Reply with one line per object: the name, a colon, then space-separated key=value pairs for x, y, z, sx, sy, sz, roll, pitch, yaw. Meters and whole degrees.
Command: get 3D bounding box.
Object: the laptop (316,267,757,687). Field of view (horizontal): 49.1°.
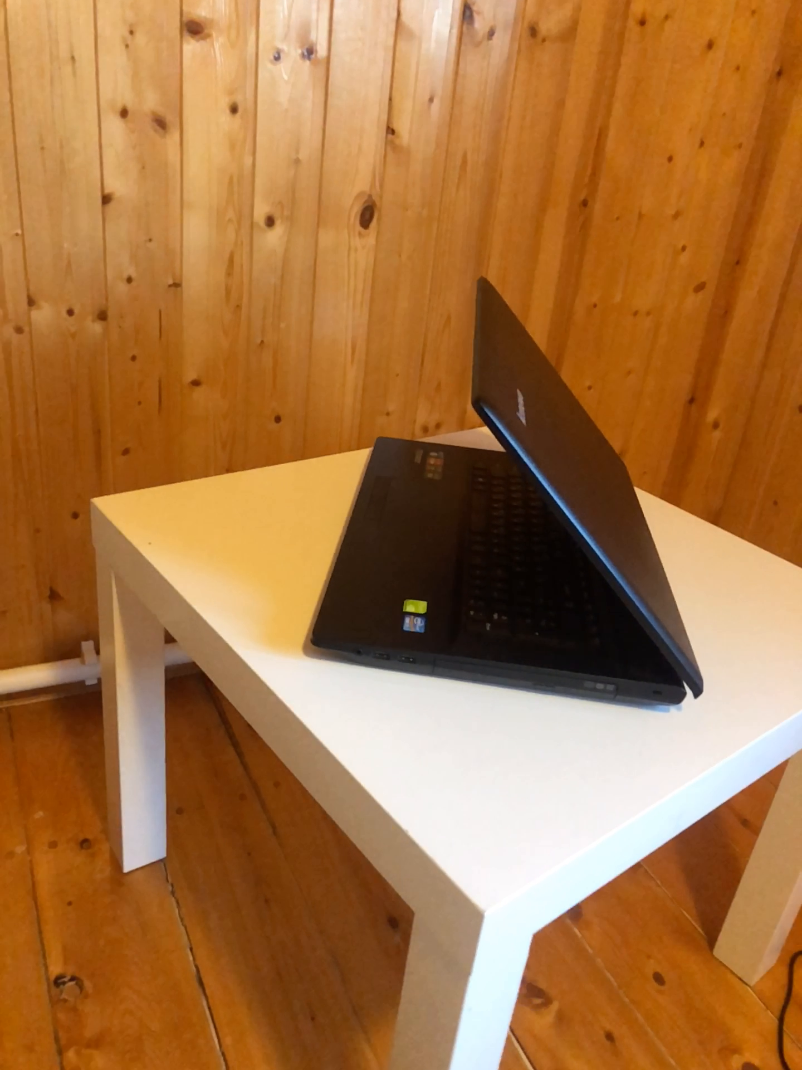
laptop: x=0.098 y=-0.082 z=0.752 sx=0.260 sy=0.179 sz=0.391 roll=8 pitch=28 yaw=2
